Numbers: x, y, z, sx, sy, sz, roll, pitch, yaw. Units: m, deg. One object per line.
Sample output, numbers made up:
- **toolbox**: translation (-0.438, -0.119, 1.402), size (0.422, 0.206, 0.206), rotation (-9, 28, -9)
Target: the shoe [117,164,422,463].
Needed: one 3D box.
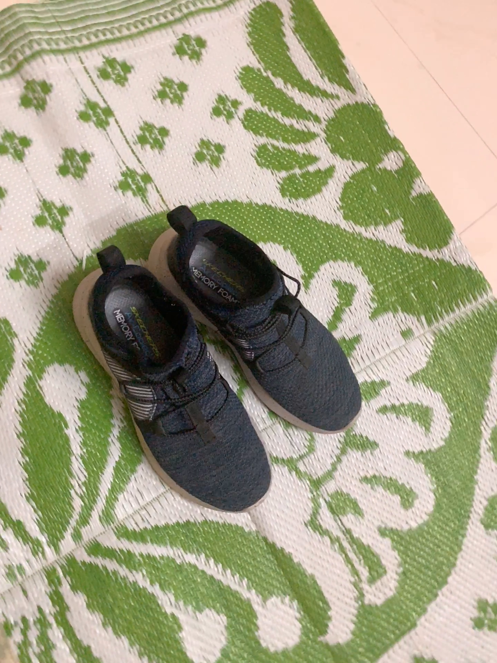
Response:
- **shoe**: translation (0.014, -0.011, 0.517), size (0.290, 0.100, 0.110), rotation (43, 74, -2)

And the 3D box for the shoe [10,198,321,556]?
- **shoe**: translation (-0.078, 0.041, 0.484), size (0.110, 0.100, 0.300), rotation (-36, 88, -16)
